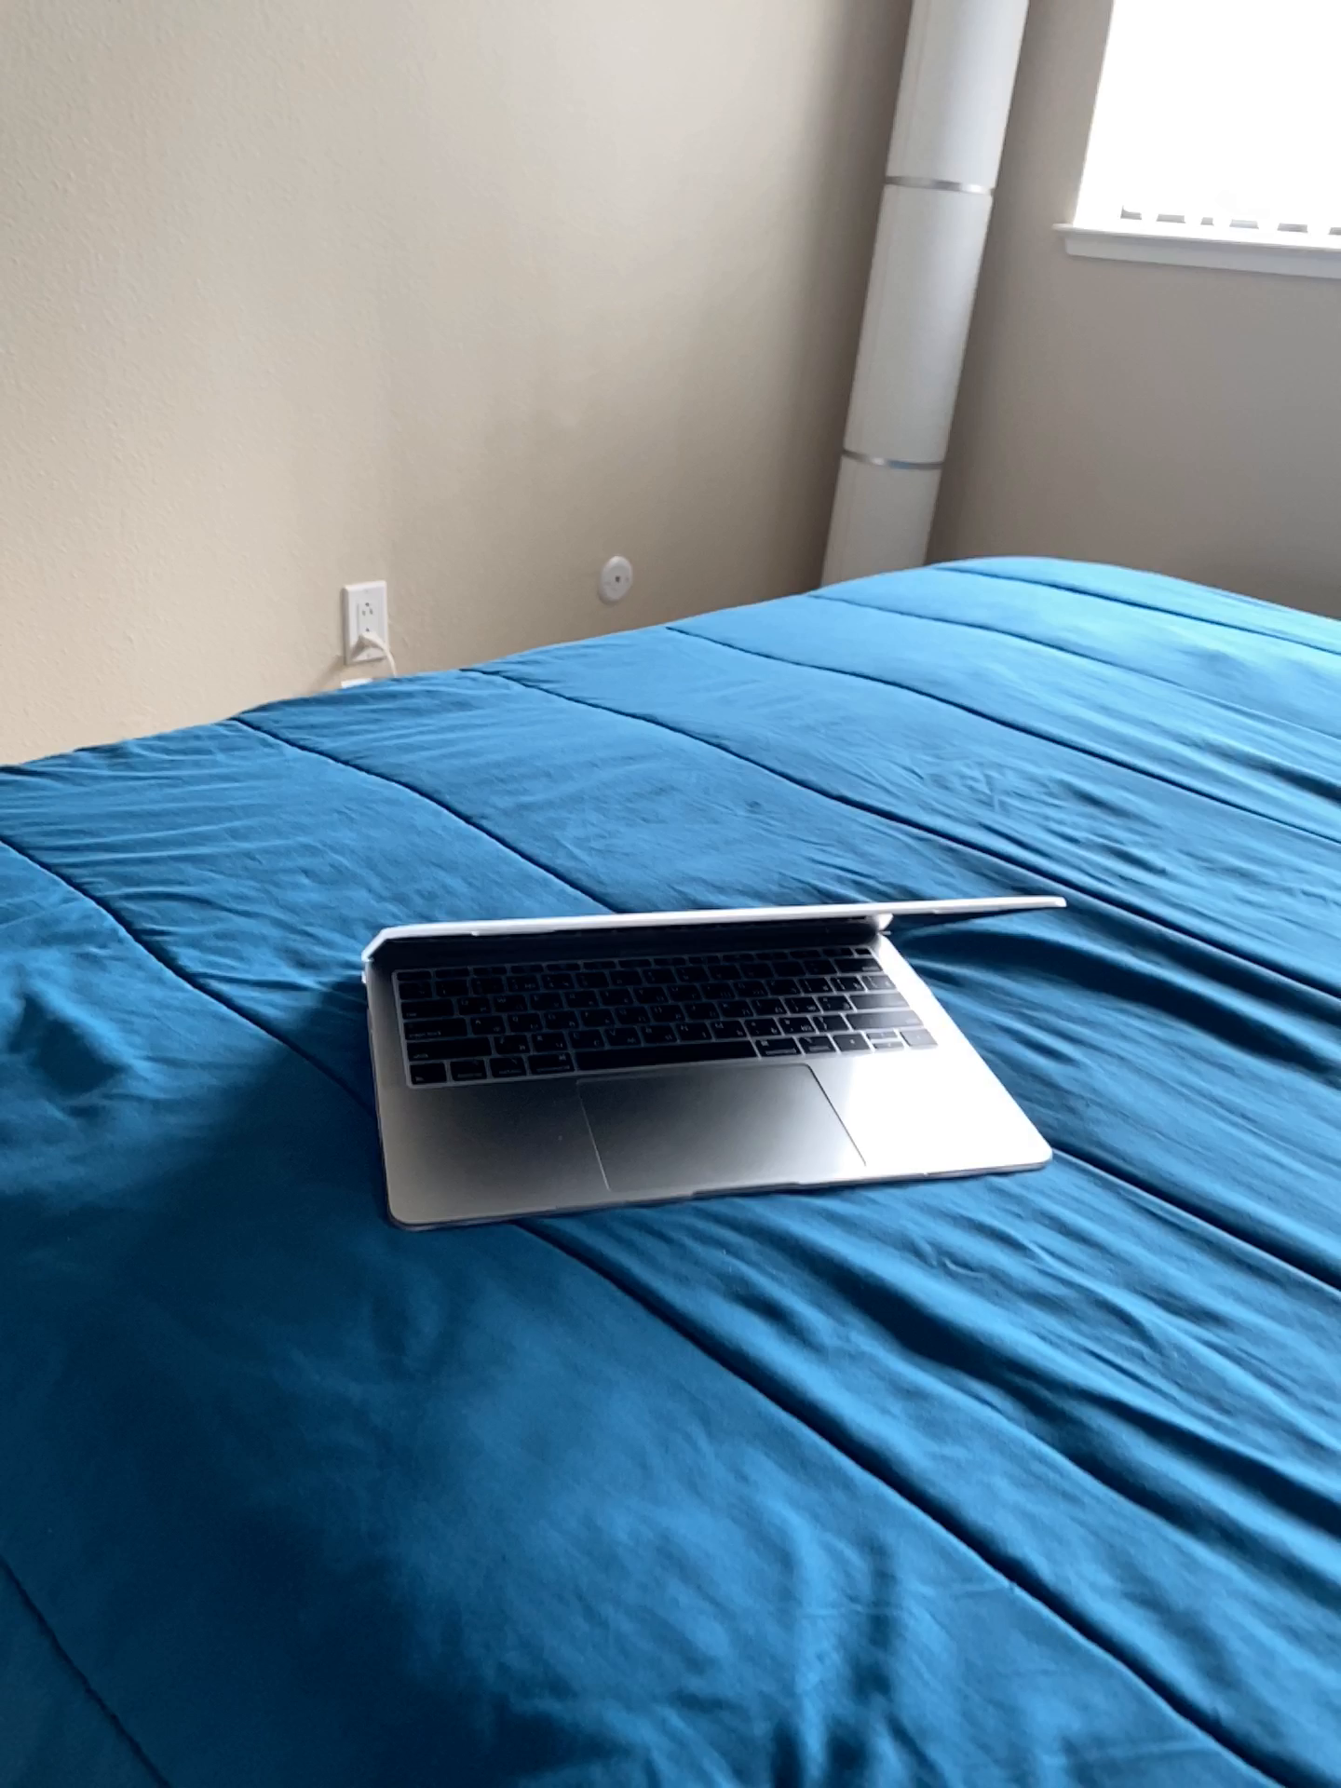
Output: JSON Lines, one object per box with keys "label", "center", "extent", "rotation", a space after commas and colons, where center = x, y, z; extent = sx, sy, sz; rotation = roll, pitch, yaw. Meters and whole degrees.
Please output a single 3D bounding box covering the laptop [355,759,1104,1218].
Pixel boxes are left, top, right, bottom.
{"label": "laptop", "center": [0.010, 0.030, 0.685], "extent": [0.310, 0.106, 0.220], "rotation": [-3, 29, -14]}
